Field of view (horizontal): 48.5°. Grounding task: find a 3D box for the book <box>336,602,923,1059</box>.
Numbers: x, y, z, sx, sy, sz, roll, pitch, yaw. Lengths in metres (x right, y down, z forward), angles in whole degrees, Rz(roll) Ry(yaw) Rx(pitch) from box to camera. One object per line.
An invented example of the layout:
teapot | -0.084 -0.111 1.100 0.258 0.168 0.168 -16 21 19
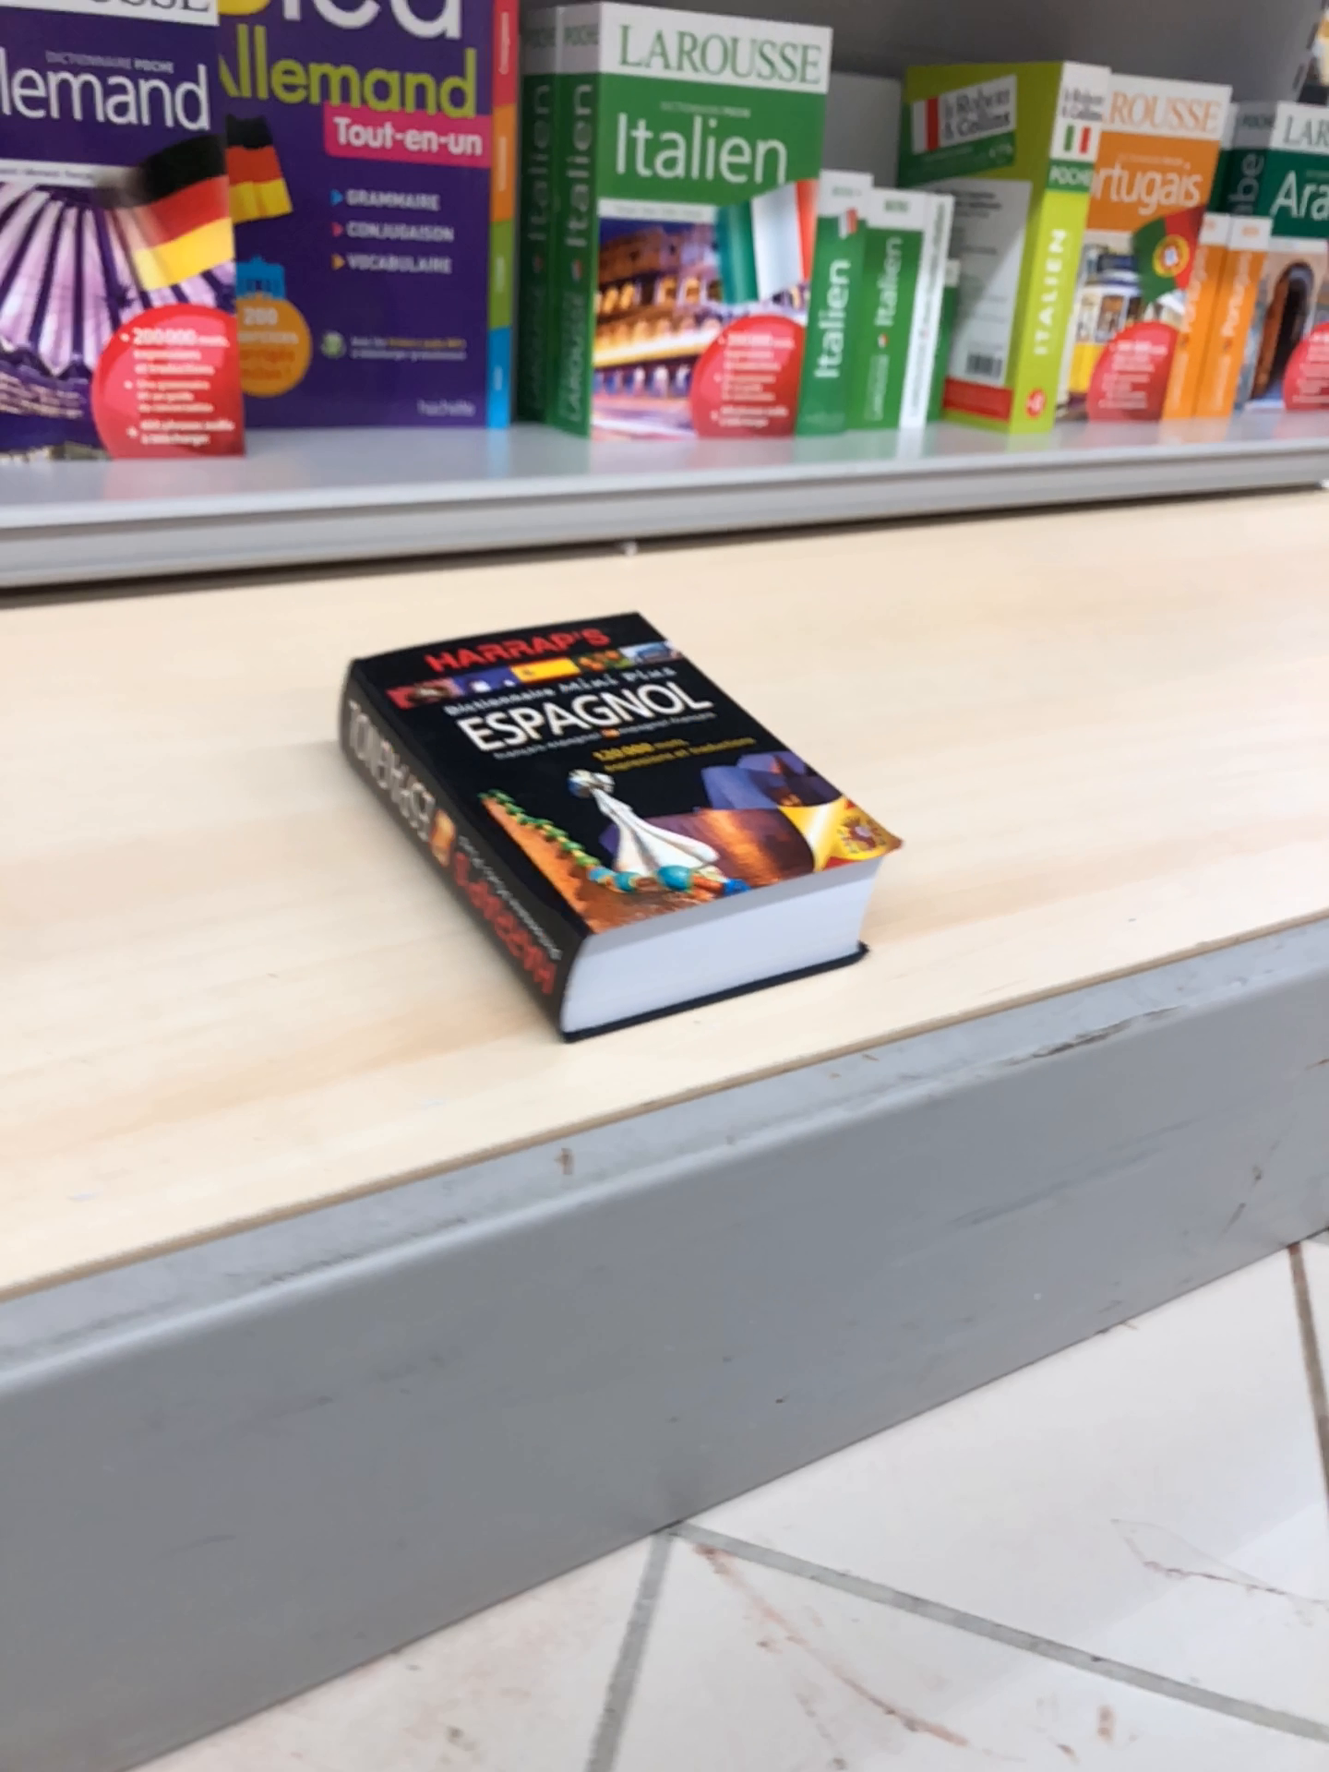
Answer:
book | -0.016 -0.025 0.416 0.103 0.038 0.146 -13 42 -30
